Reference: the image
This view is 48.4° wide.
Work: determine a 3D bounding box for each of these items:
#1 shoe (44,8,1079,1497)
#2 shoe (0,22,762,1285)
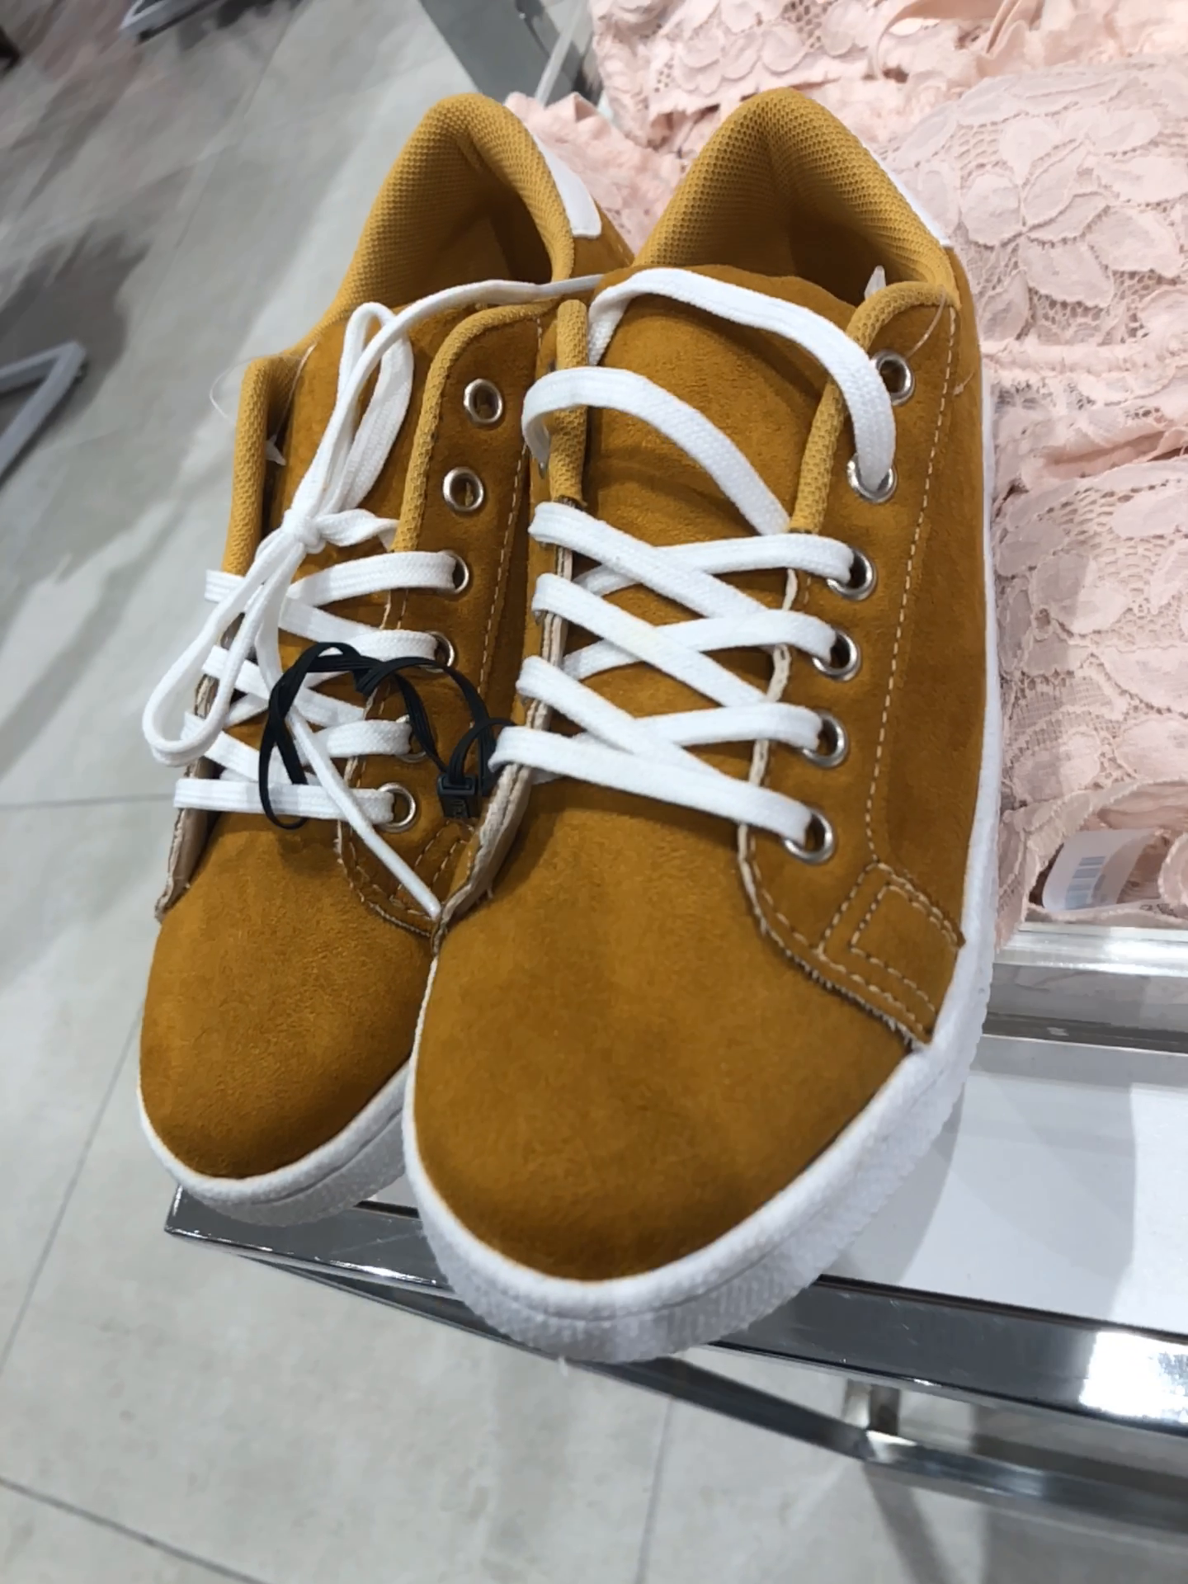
[{"bbox_3d":[0.025,-0.026,0.238,0.100,0.099,0.241,4,54,19],"label":"shoe"},{"bbox_3d":[-0.039,-0.040,0.278,0.090,0.099,0.241,6,59,20],"label":"shoe"}]
